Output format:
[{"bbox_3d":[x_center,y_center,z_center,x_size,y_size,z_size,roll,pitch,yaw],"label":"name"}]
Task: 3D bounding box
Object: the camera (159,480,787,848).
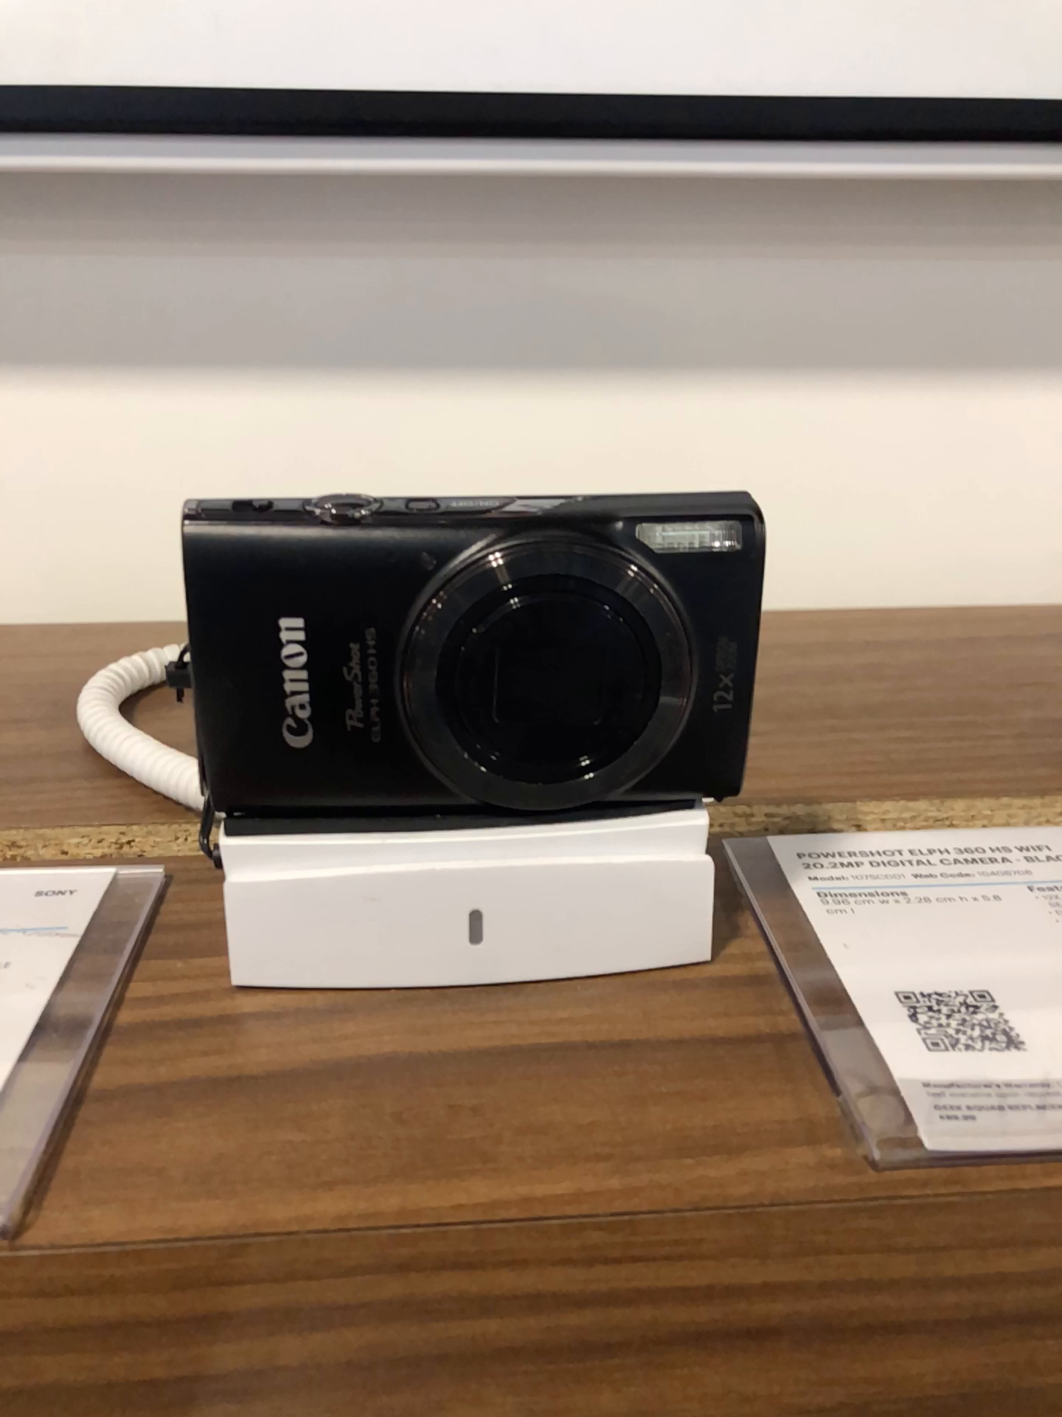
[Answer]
[{"bbox_3d":[-0.009,-0.009,0.211,0.100,0.056,0.030,-2,19,-5],"label":"camera"}]
